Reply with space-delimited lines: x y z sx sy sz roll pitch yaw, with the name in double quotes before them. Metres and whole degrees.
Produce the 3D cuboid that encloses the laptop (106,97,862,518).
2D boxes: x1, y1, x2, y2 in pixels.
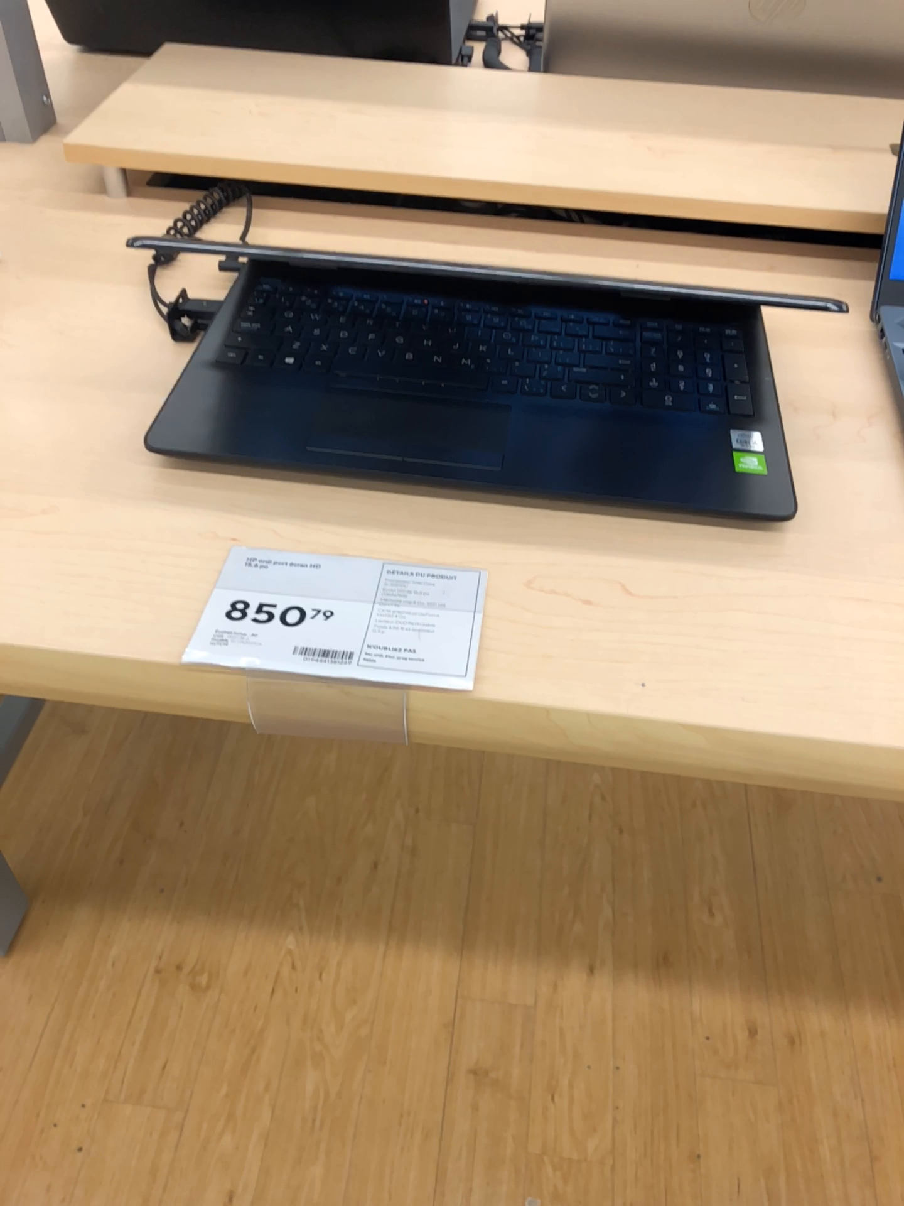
"laptop" 0.020 -0.194 0.610 0.371 0.115 0.240 6 45 5
